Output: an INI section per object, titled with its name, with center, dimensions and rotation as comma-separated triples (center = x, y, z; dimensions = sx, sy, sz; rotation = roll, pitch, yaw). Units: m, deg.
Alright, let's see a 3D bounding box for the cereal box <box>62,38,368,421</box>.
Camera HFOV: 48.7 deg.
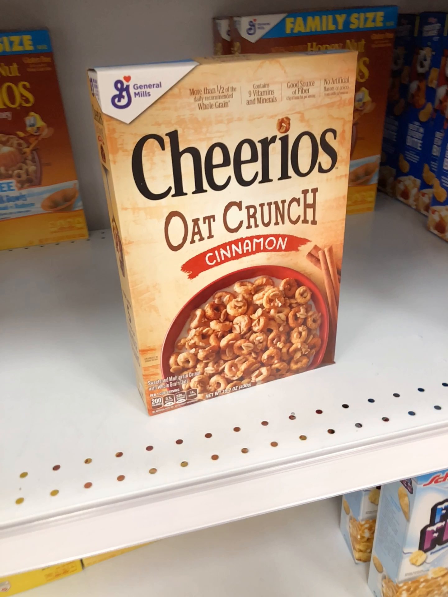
[cereal box]
center = 0.002, -0.047, 0.404
dimensions = 0.200, 0.279, 0.050
rotation = -13, 32, -16
